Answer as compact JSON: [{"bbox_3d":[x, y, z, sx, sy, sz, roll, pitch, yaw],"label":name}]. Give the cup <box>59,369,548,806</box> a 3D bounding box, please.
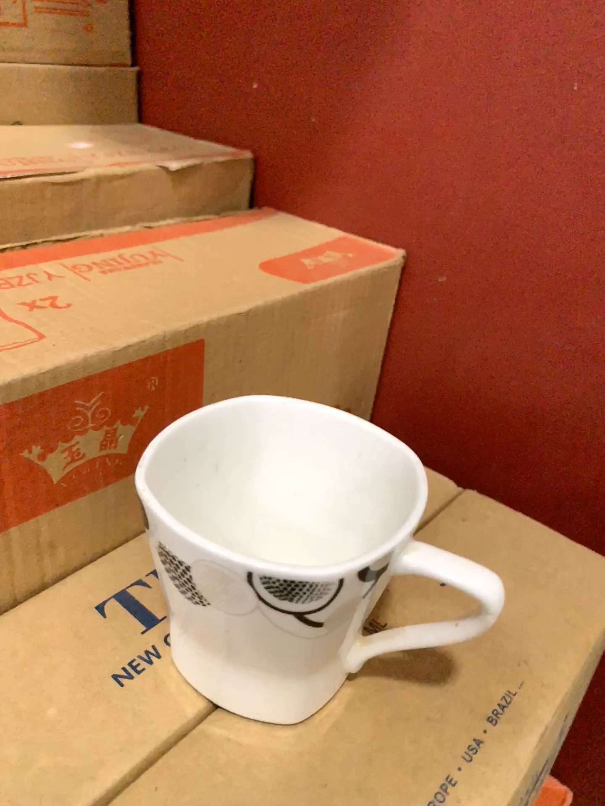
[{"bbox_3d":[0.002,0.041,0.153,0.090,0.060,0.060,16,31,17],"label":"cup"}]
